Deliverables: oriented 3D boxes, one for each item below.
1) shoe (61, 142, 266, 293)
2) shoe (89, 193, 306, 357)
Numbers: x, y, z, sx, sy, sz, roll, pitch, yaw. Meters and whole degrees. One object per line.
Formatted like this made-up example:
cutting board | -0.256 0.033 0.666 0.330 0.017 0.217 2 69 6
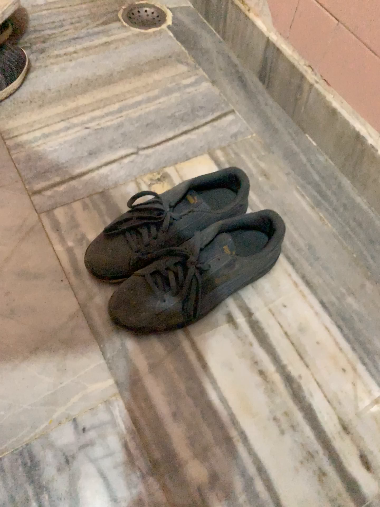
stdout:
shoe | -0.039 -0.062 0.631 0.290 0.100 0.110 -24 67 -17
shoe | 0.012 0.029 0.592 0.290 0.100 0.110 -24 67 -17
